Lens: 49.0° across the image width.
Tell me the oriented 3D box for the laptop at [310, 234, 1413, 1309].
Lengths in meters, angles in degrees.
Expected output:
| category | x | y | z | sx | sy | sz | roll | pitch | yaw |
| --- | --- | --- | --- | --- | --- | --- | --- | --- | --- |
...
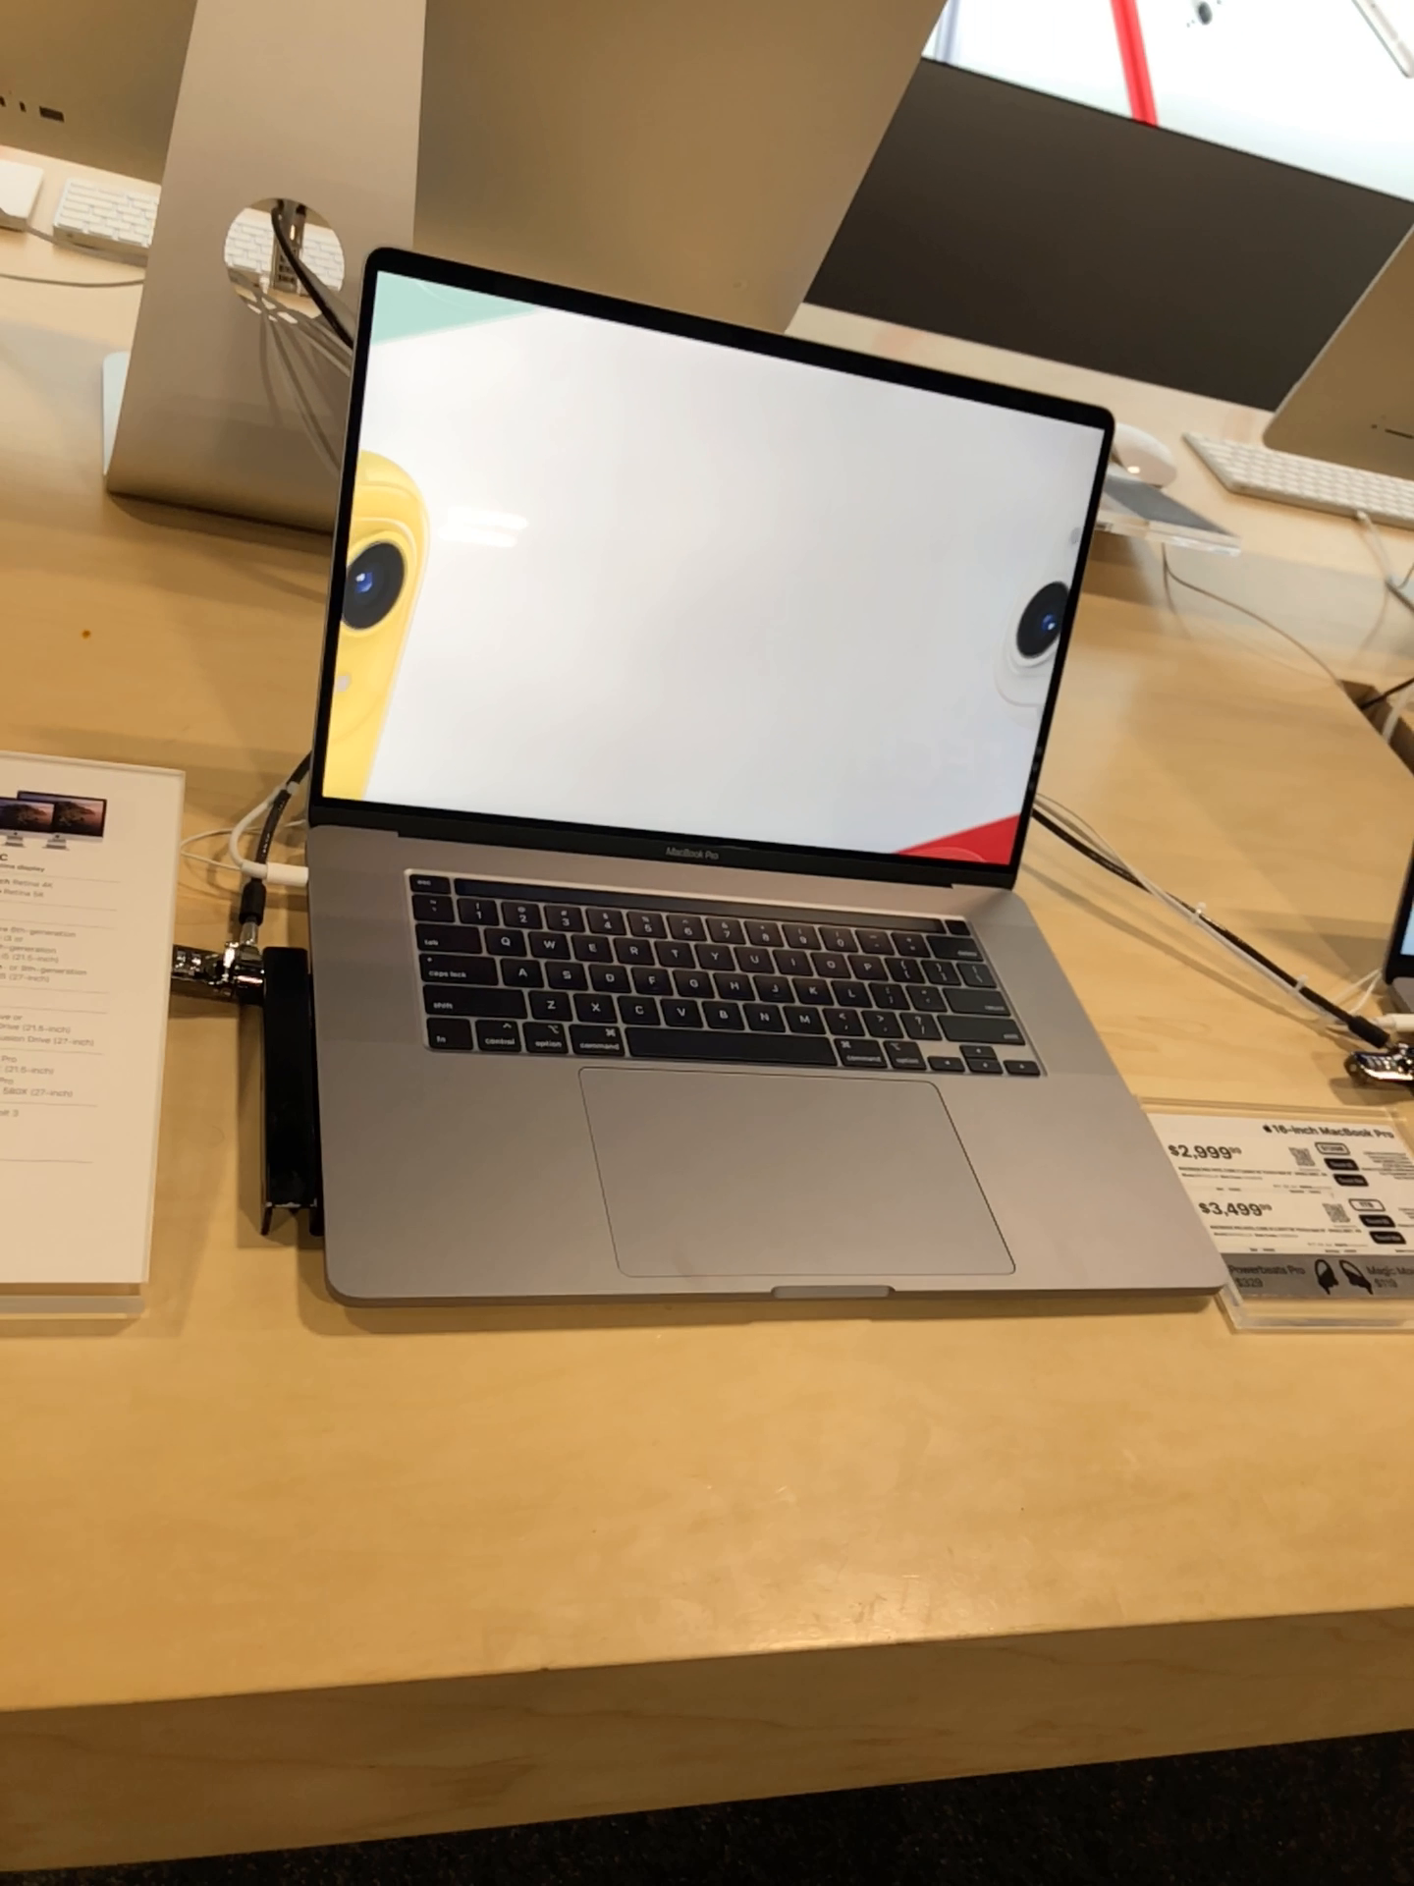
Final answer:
| category | x | y | z | sx | sy | sz | roll | pitch | yaw |
| --- | --- | --- | --- | --- | --- | --- | --- | --- | --- |
| laptop | 0.033 | -0.072 | 0.616 | 0.335 | 0.204 | 0.350 | 5 | 42 | -18 |
